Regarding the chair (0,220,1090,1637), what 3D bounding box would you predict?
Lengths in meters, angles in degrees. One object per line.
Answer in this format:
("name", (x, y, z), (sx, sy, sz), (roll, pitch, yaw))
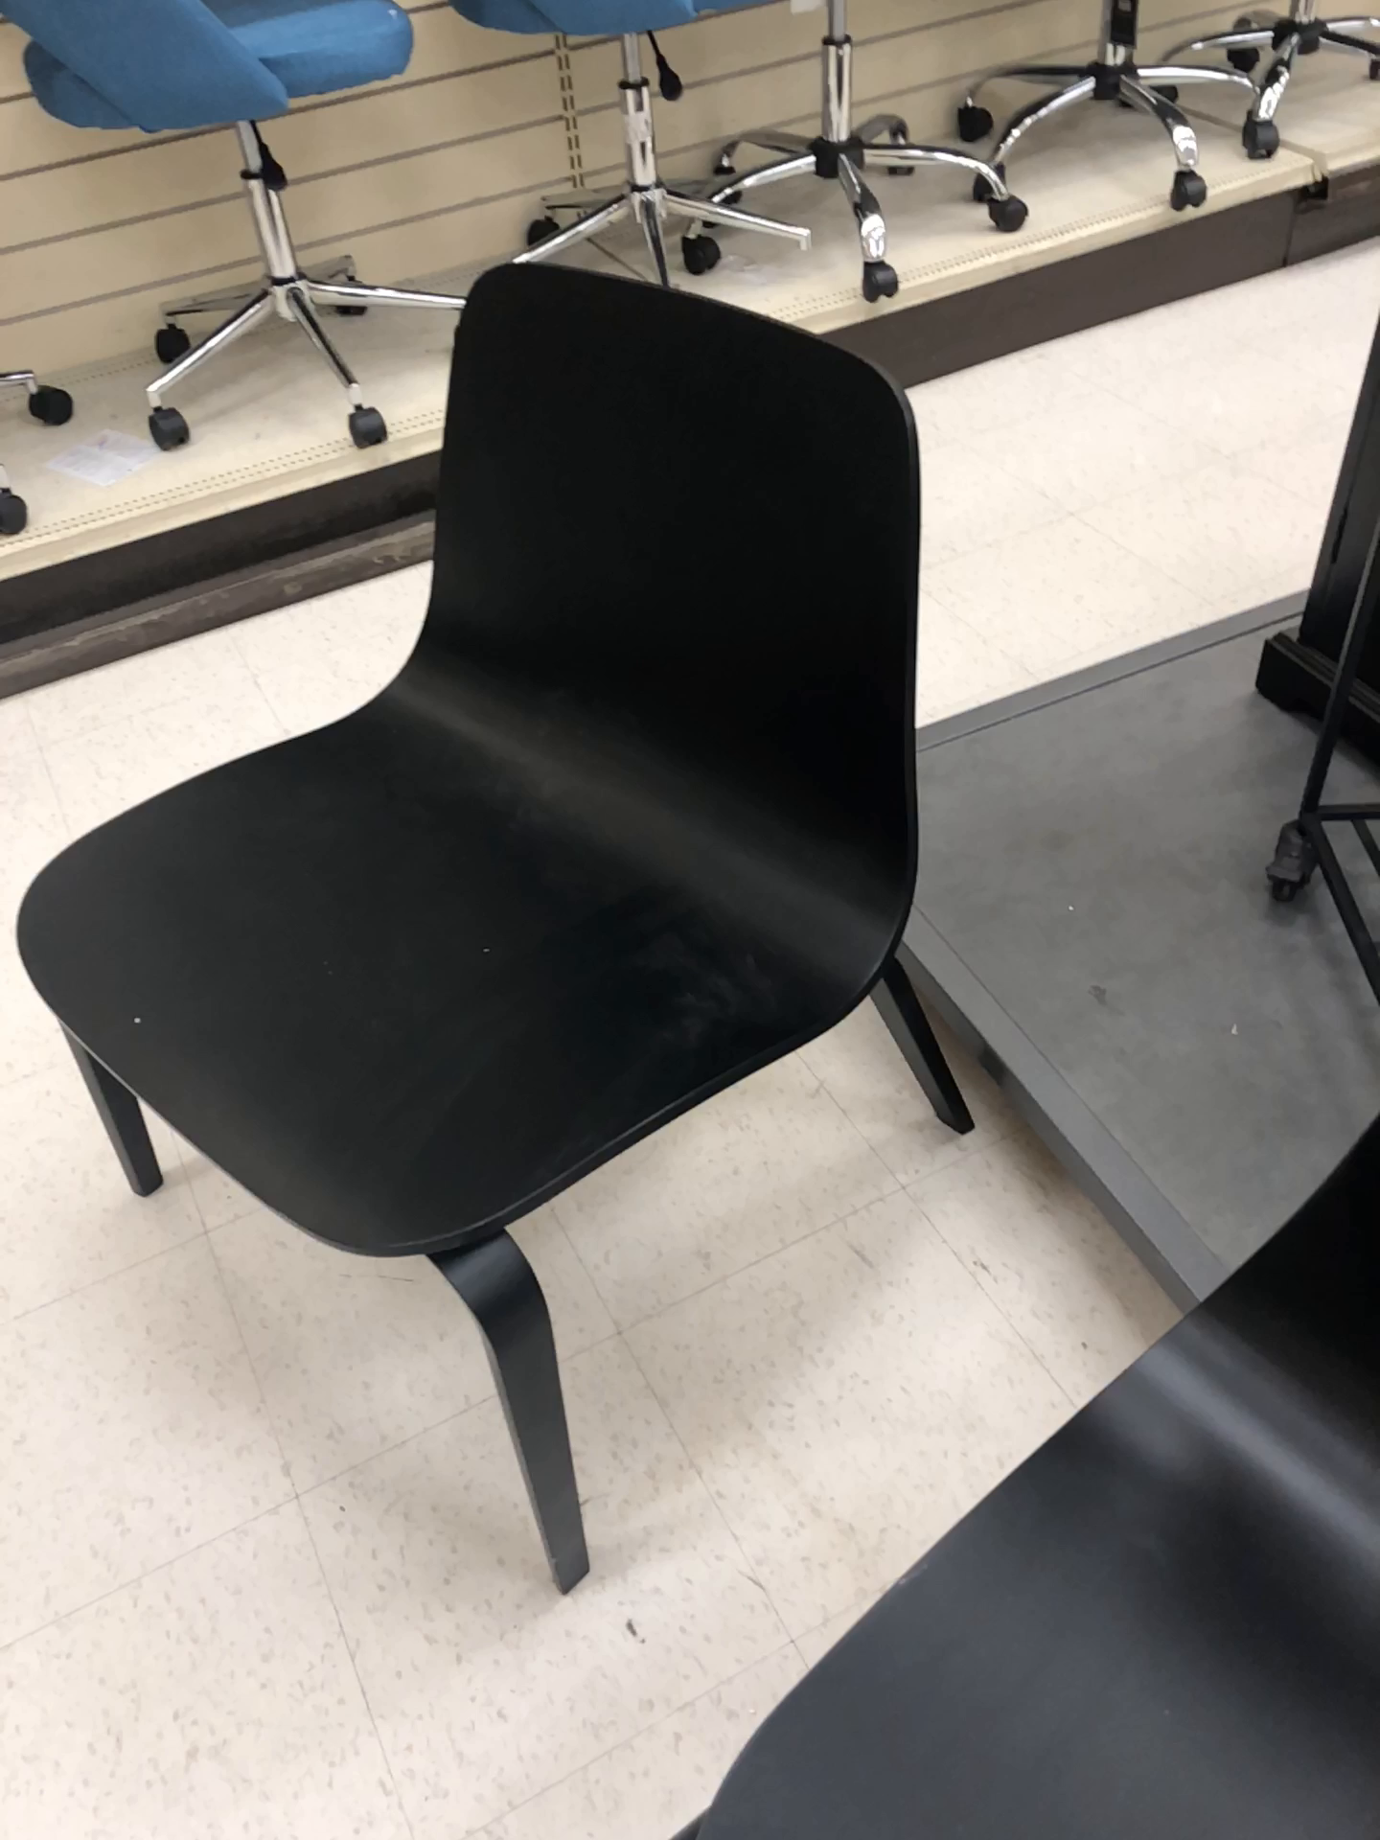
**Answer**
("chair", (-0.168, -0.031, 1.216), (0.642, 0.717, 0.631), (30, 54, 32))
